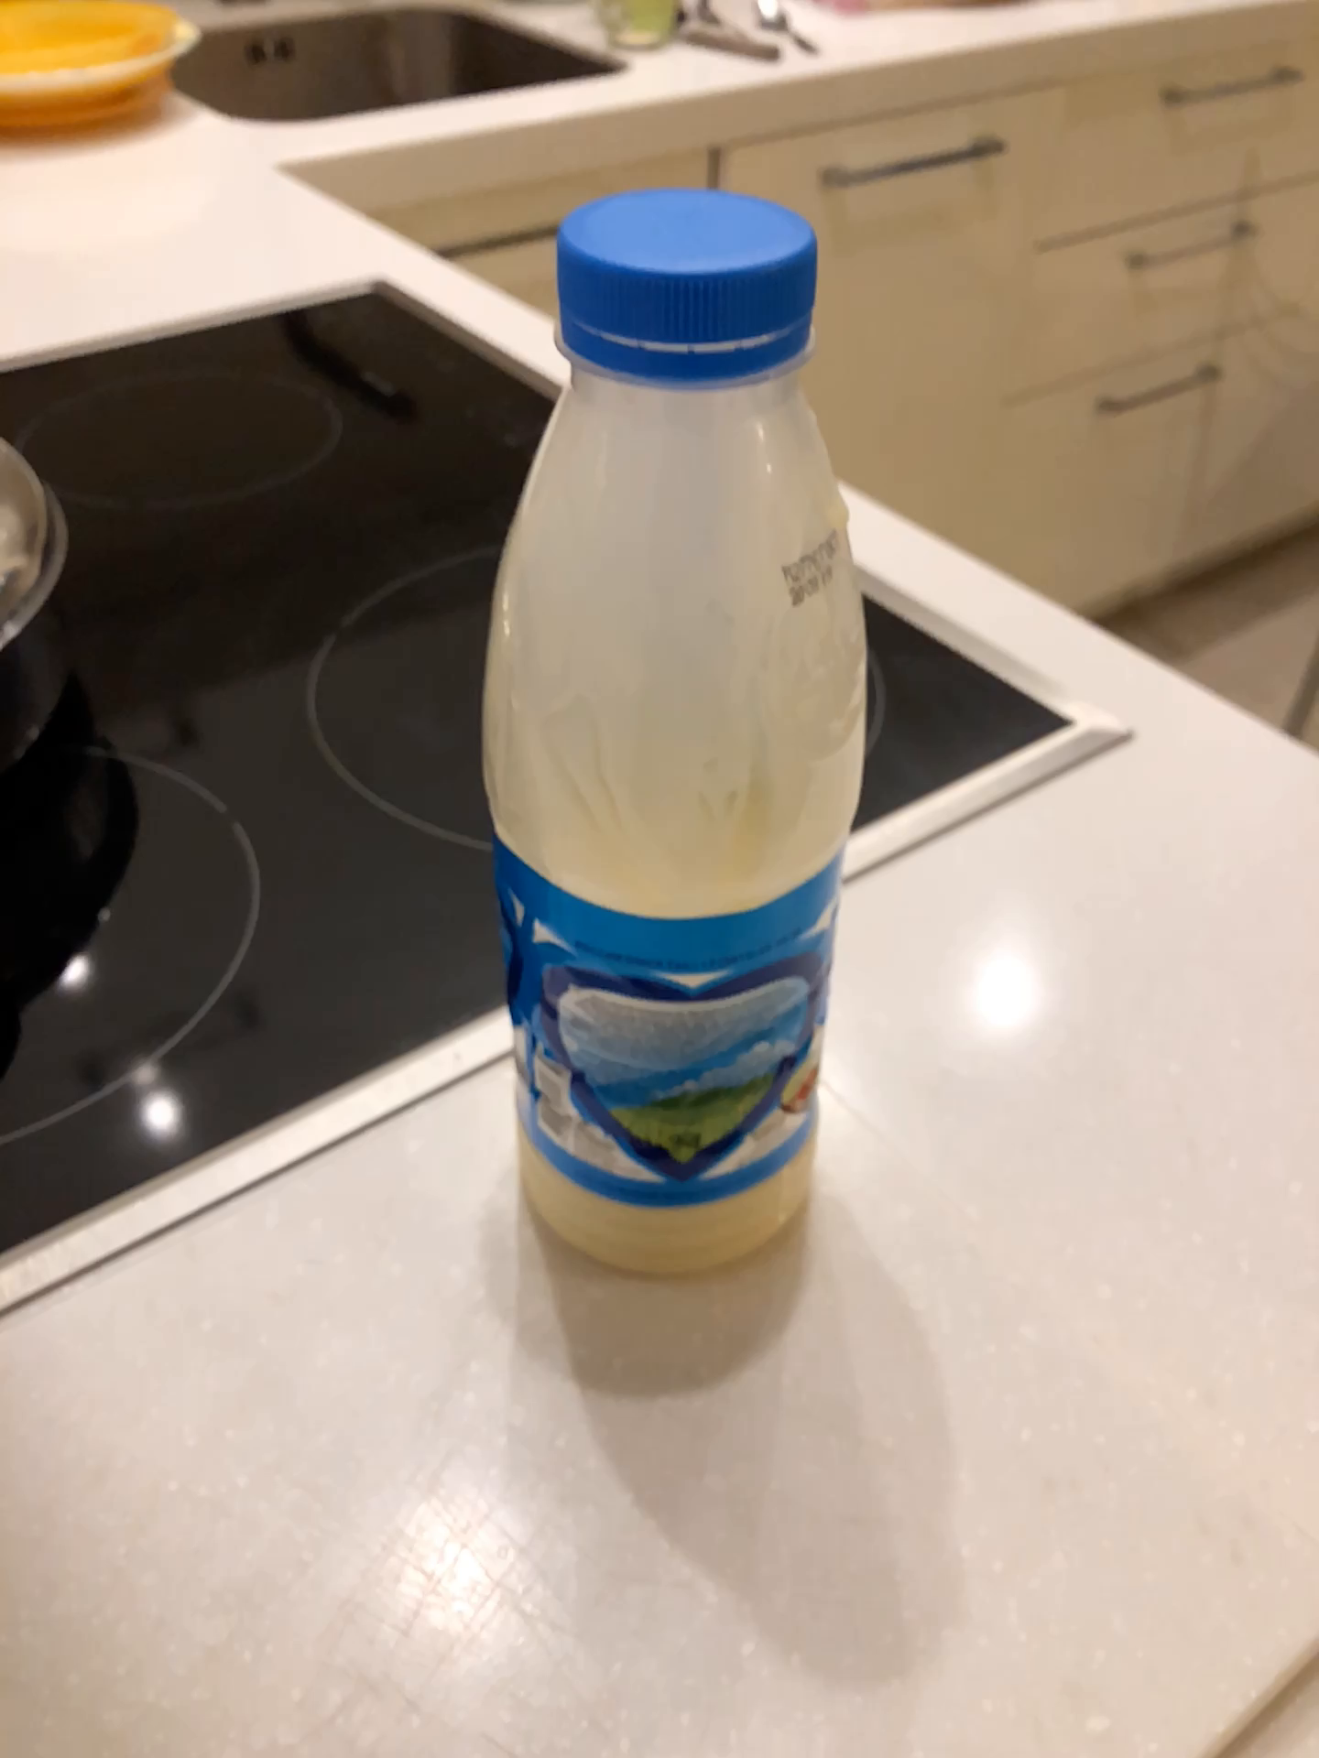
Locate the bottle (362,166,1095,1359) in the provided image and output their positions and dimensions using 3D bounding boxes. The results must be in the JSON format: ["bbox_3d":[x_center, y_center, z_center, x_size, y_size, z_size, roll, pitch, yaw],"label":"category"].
[{"bbox_3d":[0.007,-0.013,0.295,0.080,0.213,0.080,1,40,-1],"label":"bottle"}]
